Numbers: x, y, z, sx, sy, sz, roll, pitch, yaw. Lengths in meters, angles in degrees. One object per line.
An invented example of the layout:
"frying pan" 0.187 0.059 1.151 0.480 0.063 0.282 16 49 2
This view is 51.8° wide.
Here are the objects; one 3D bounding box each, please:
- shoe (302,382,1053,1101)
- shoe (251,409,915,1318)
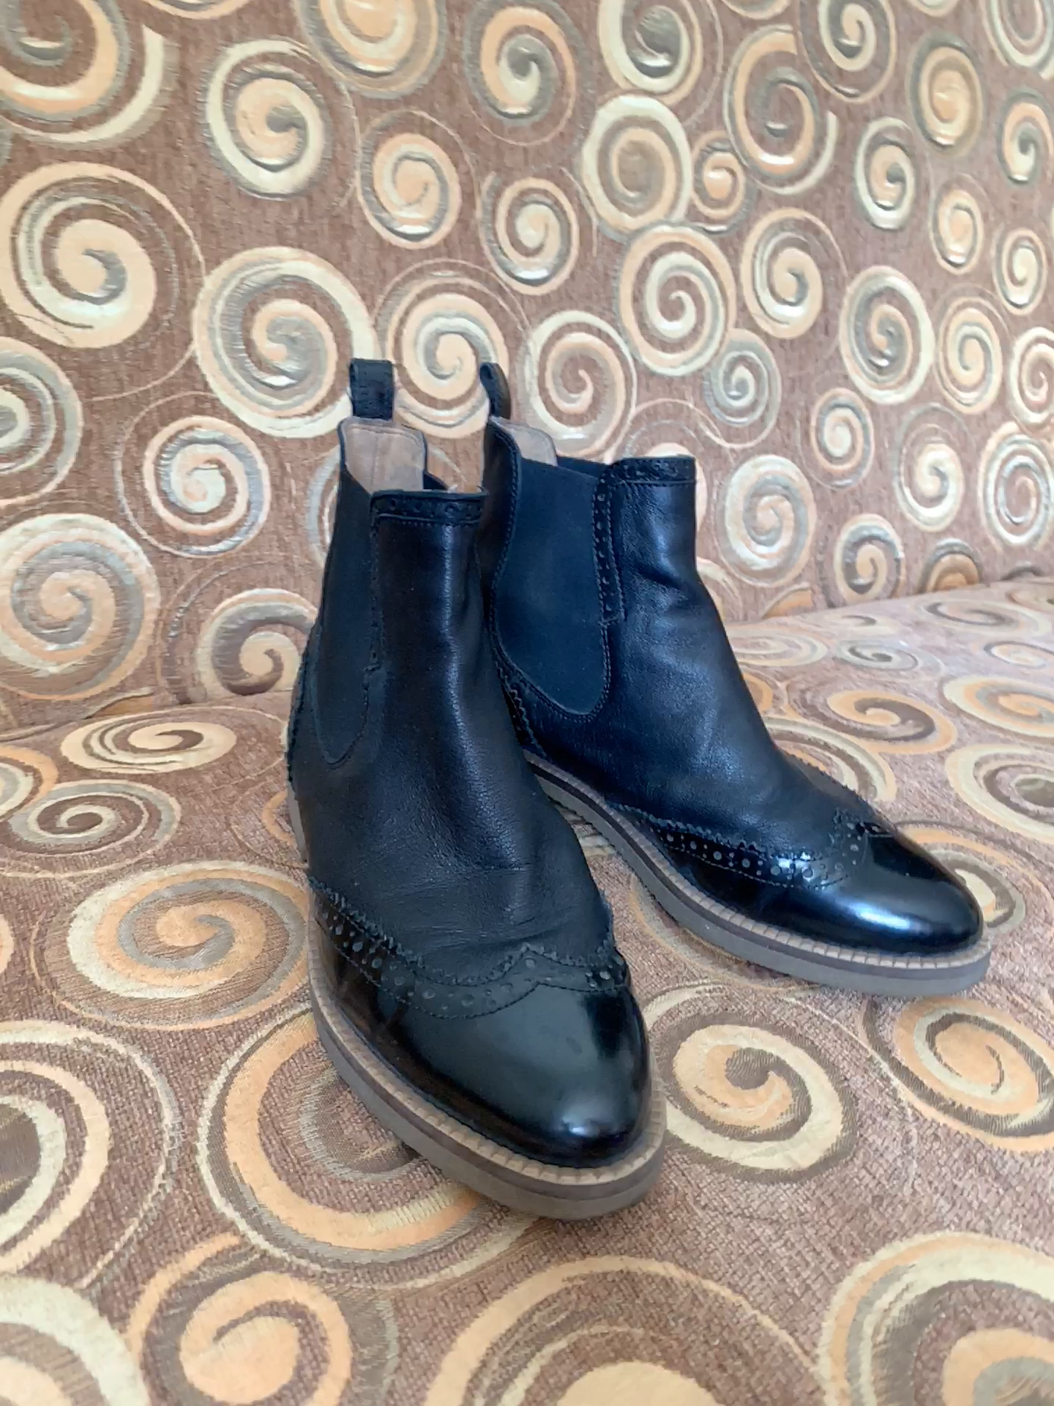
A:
"shoe" 0.046 -0.013 0.409 0.291 0.139 0.100 28 34 34
"shoe" -0.018 0.015 0.324 0.100 0.139 0.241 -3 30 -19
